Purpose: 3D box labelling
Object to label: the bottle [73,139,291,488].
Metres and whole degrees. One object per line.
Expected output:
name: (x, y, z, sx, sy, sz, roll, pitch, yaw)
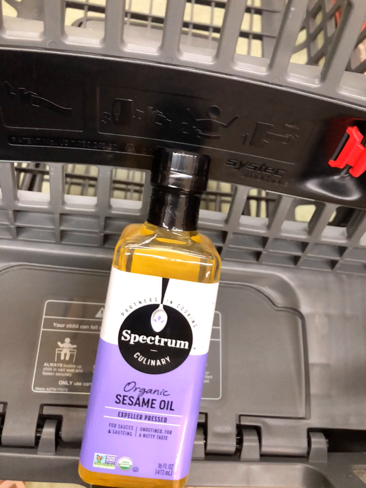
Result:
bottle: (-0.009, 0.047, 0.244, 0.080, 0.065, 0.200, 8, 105, -6)
